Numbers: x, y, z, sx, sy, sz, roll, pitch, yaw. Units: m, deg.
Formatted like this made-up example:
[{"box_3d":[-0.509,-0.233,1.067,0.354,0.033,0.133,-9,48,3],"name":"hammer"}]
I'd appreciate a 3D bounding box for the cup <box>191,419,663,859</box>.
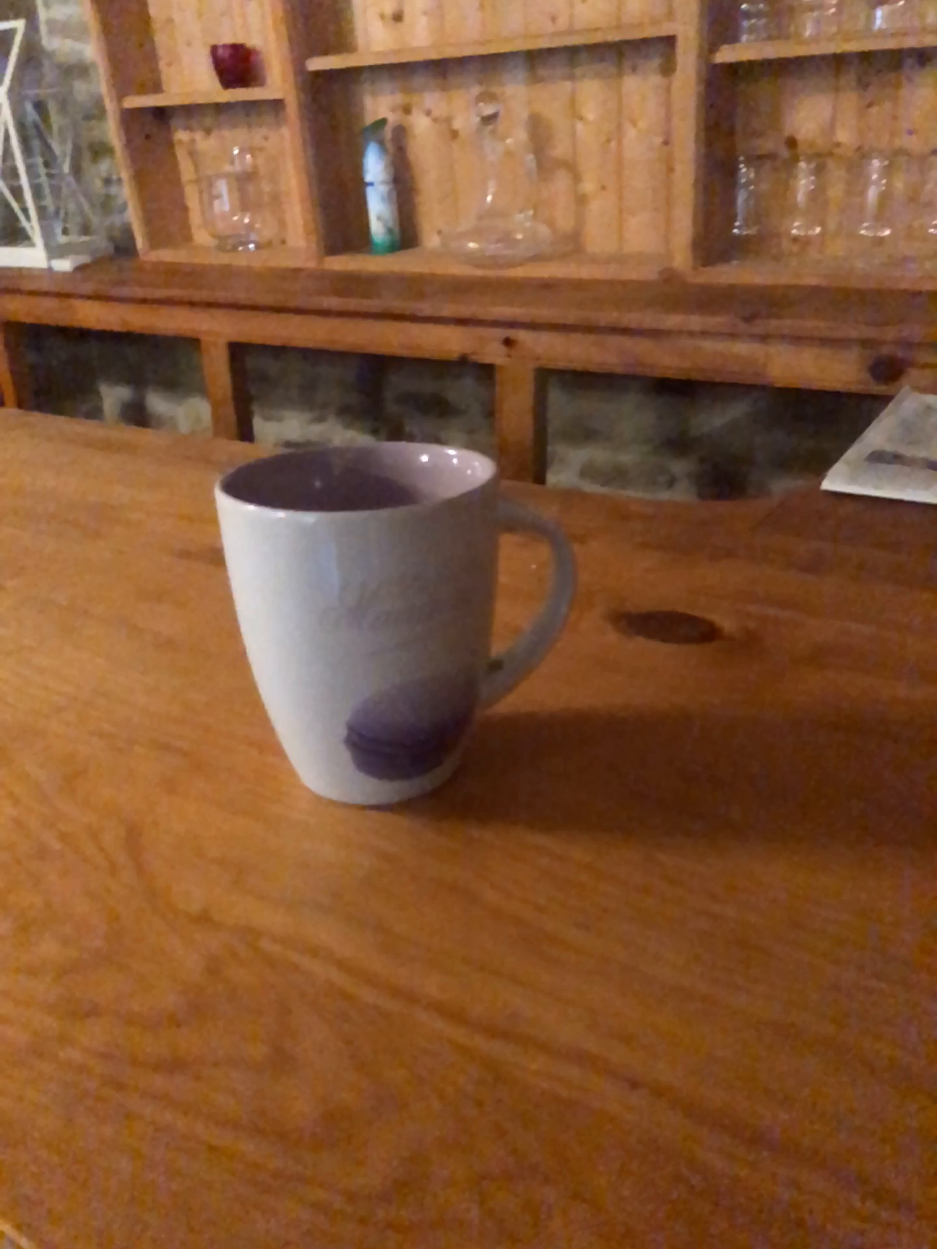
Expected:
[{"box_3d":[-0.016,-0.005,0.344,0.120,0.095,0.101,-12,26,-23],"name":"cup"}]
